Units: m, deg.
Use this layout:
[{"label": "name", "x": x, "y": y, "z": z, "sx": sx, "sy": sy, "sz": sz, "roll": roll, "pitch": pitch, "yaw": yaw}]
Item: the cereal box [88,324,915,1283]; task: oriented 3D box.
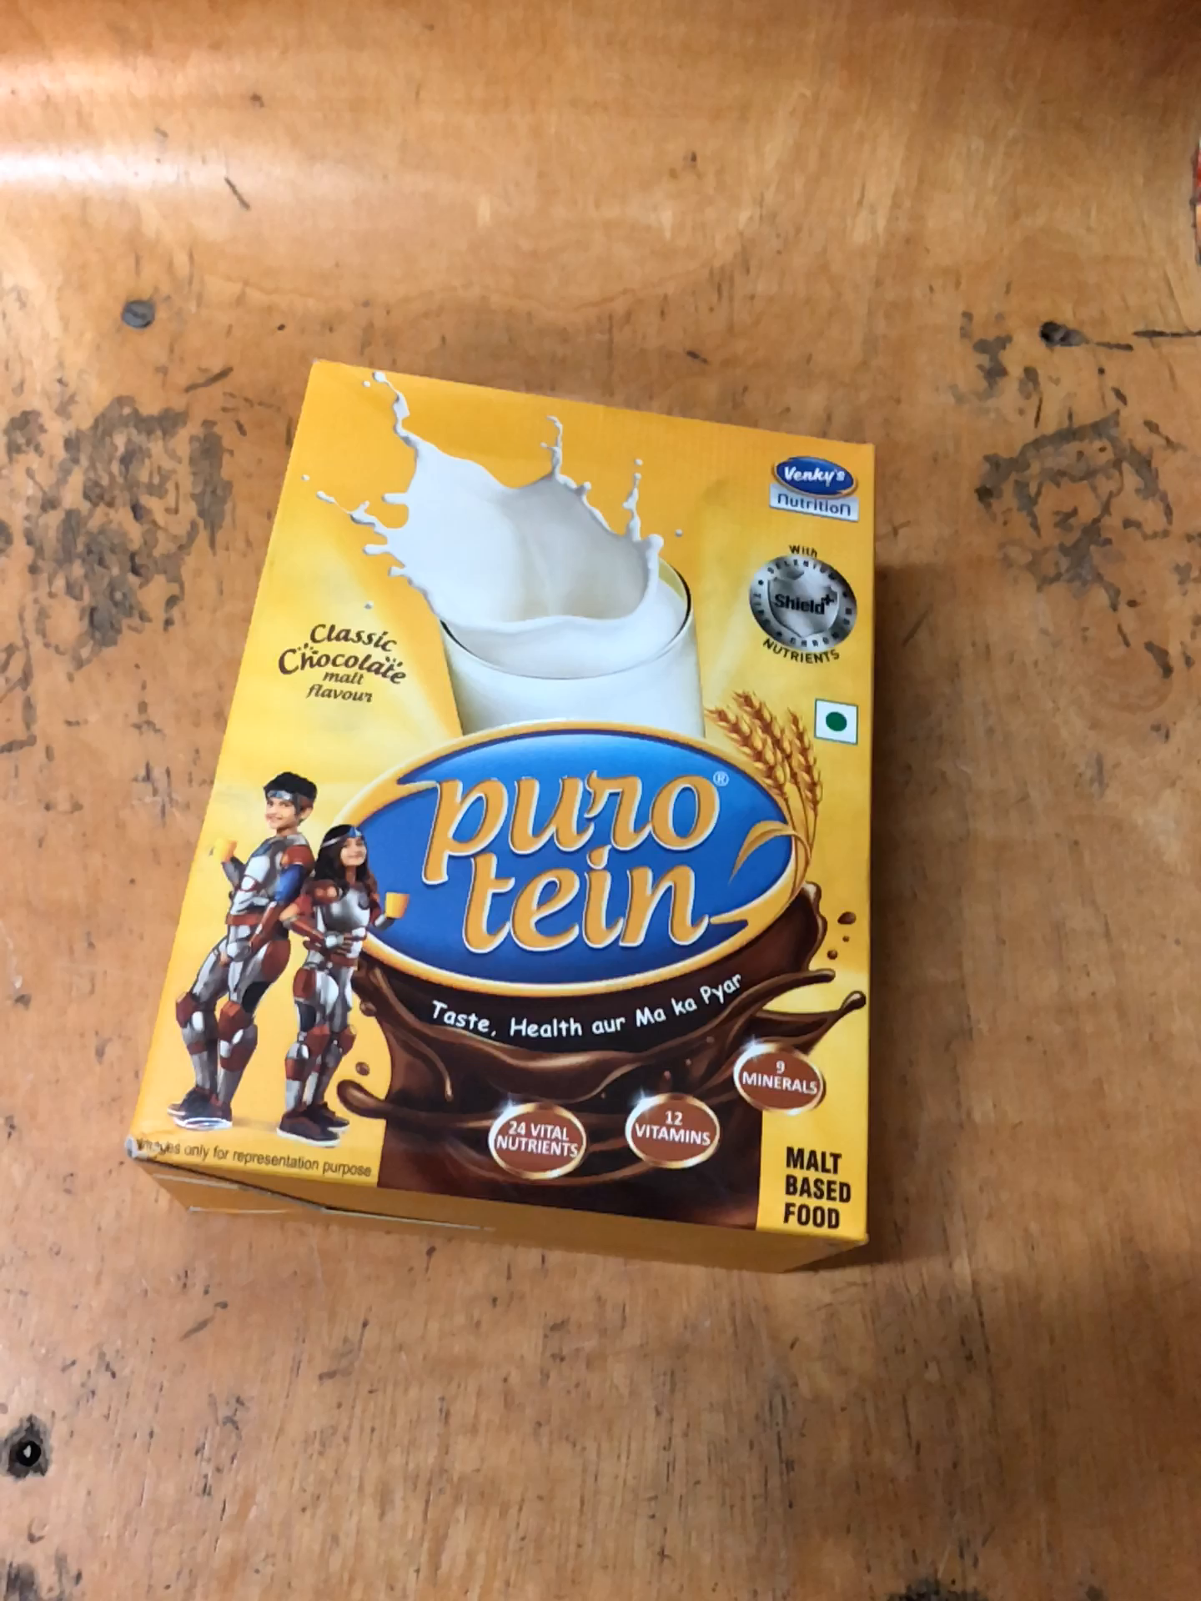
[{"label": "cereal box", "x": -0.012, "y": 0.002, "z": 0.300, "sx": 0.140, "sy": 0.080, "sz": 0.180, "roll": 8, "pitch": 66, "yaw": -4}]
